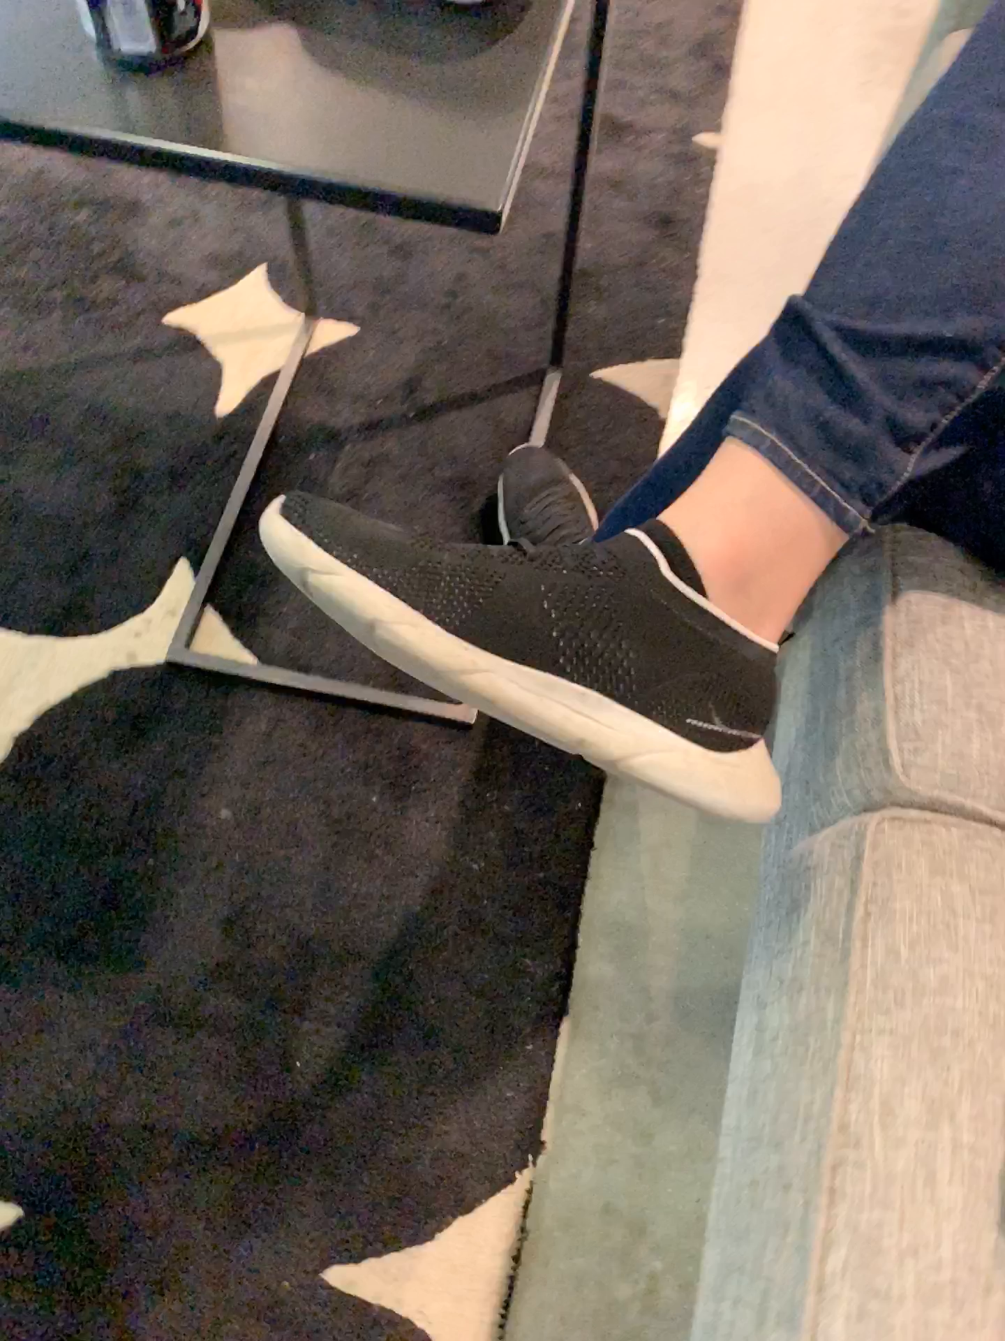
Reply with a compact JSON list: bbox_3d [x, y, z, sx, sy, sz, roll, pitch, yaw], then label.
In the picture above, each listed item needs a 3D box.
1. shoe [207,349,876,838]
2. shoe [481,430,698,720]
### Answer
[{"bbox_3d":[0.017,-0.025,0.507,0.276,0.112,0.132,20,78,-7],"label":"shoe"},{"bbox_3d":[0.085,-0.109,1.111,0.116,0.074,0.304,-18,65,-12],"label":"shoe"}]
